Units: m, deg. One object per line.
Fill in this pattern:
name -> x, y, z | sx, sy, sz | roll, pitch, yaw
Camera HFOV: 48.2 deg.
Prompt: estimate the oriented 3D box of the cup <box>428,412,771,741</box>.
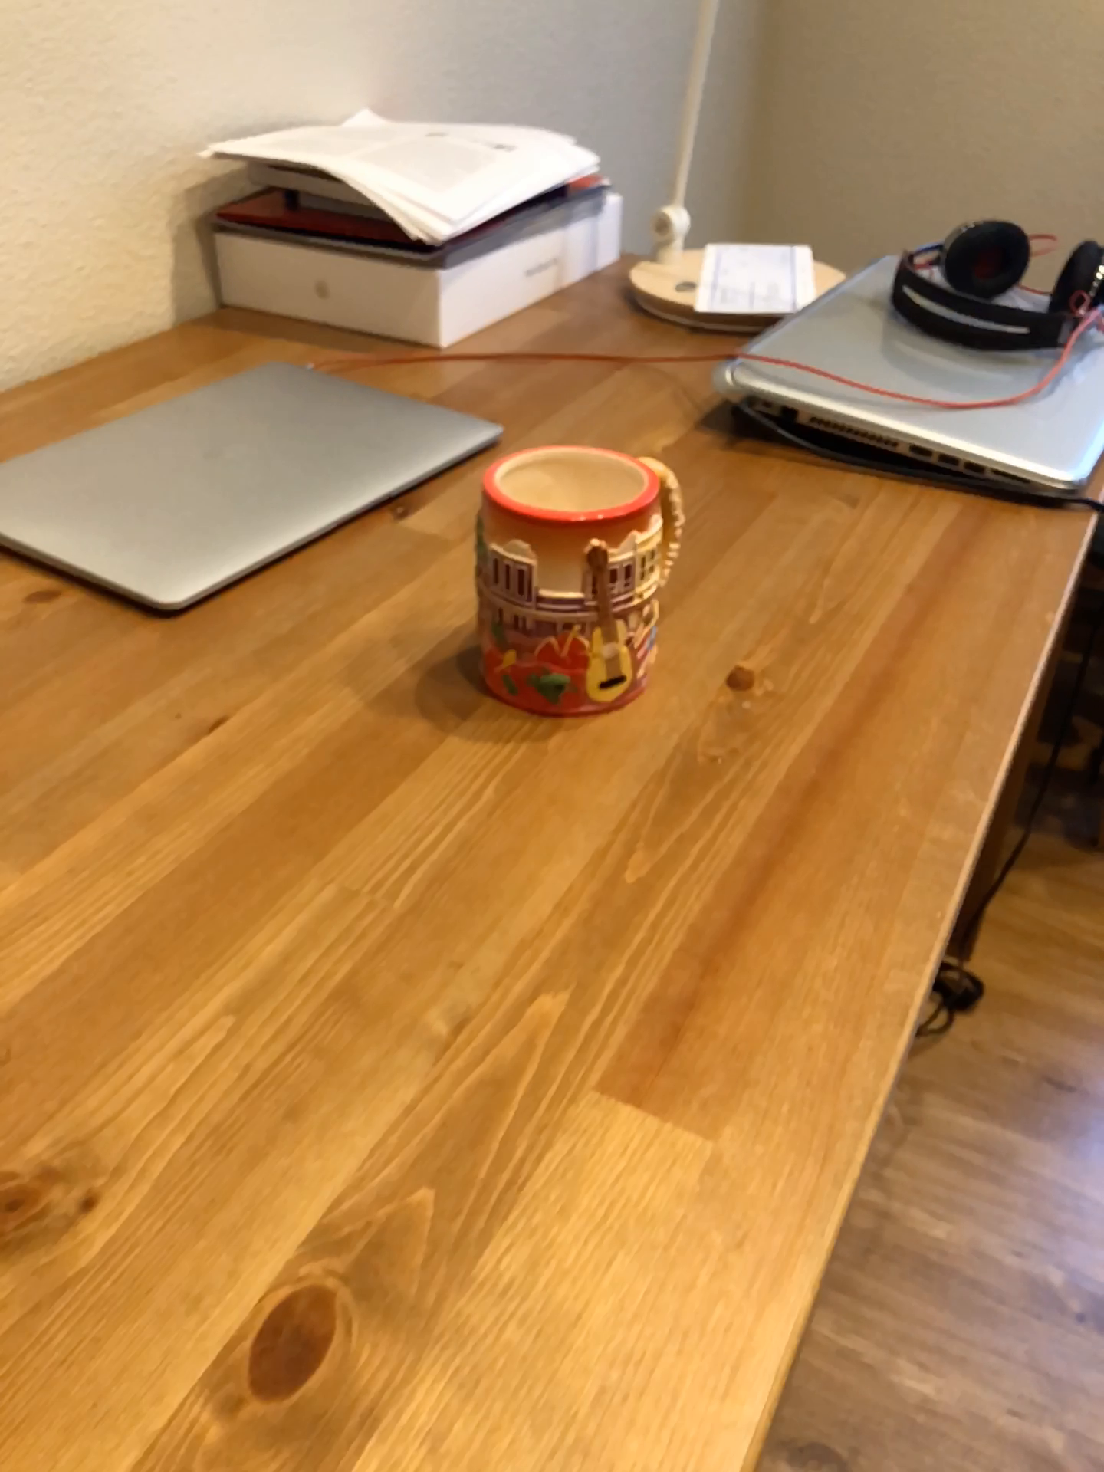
cup -> 0.023, -0.080, 0.577 | 0.090, 0.090, 0.130 | 29, 43, 33
